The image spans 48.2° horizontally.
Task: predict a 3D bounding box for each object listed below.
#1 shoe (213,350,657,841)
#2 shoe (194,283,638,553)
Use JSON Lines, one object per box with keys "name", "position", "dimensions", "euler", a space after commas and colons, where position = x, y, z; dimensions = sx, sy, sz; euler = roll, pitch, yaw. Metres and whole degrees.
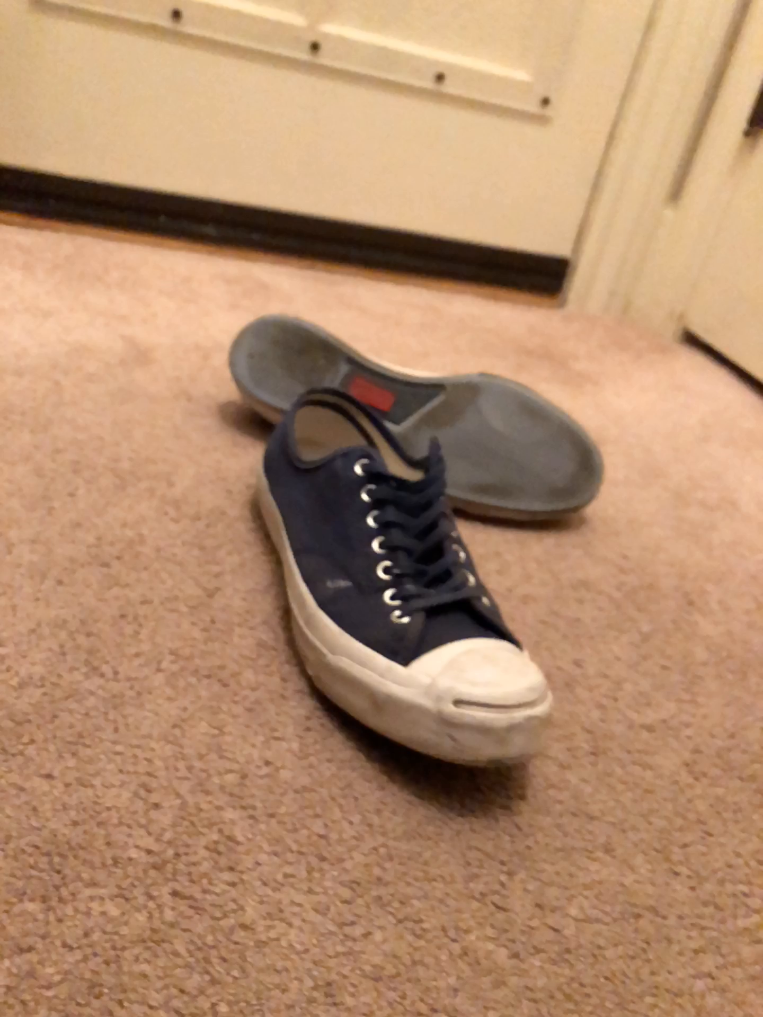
{"name": "shoe", "position": [0.001, 0.019, 0.466], "dimensions": [0.116, 0.098, 0.287], "euler": [0, 32, -25]}
{"name": "shoe", "position": [0.025, -0.066, 0.651], "dimensions": [0.296, 0.104, 0.099], "euler": [19, 1, 6]}
